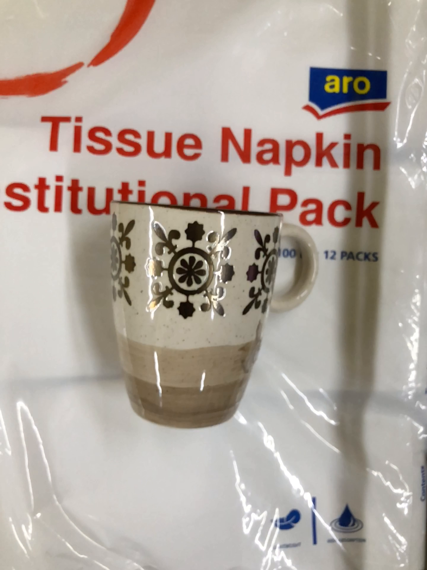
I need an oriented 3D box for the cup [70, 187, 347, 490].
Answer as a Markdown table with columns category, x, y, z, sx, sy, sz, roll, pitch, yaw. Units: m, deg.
| category | x | y | z | sx | sy | sz | roll | pitch | yaw |
| --- | --- | --- | --- | --- | --- | --- | --- | --- | --- |
| cup | -0.004 | 0.016 | 0.228 | 0.100 | 0.070 | 0.110 | 0 | 98 | -34 |
